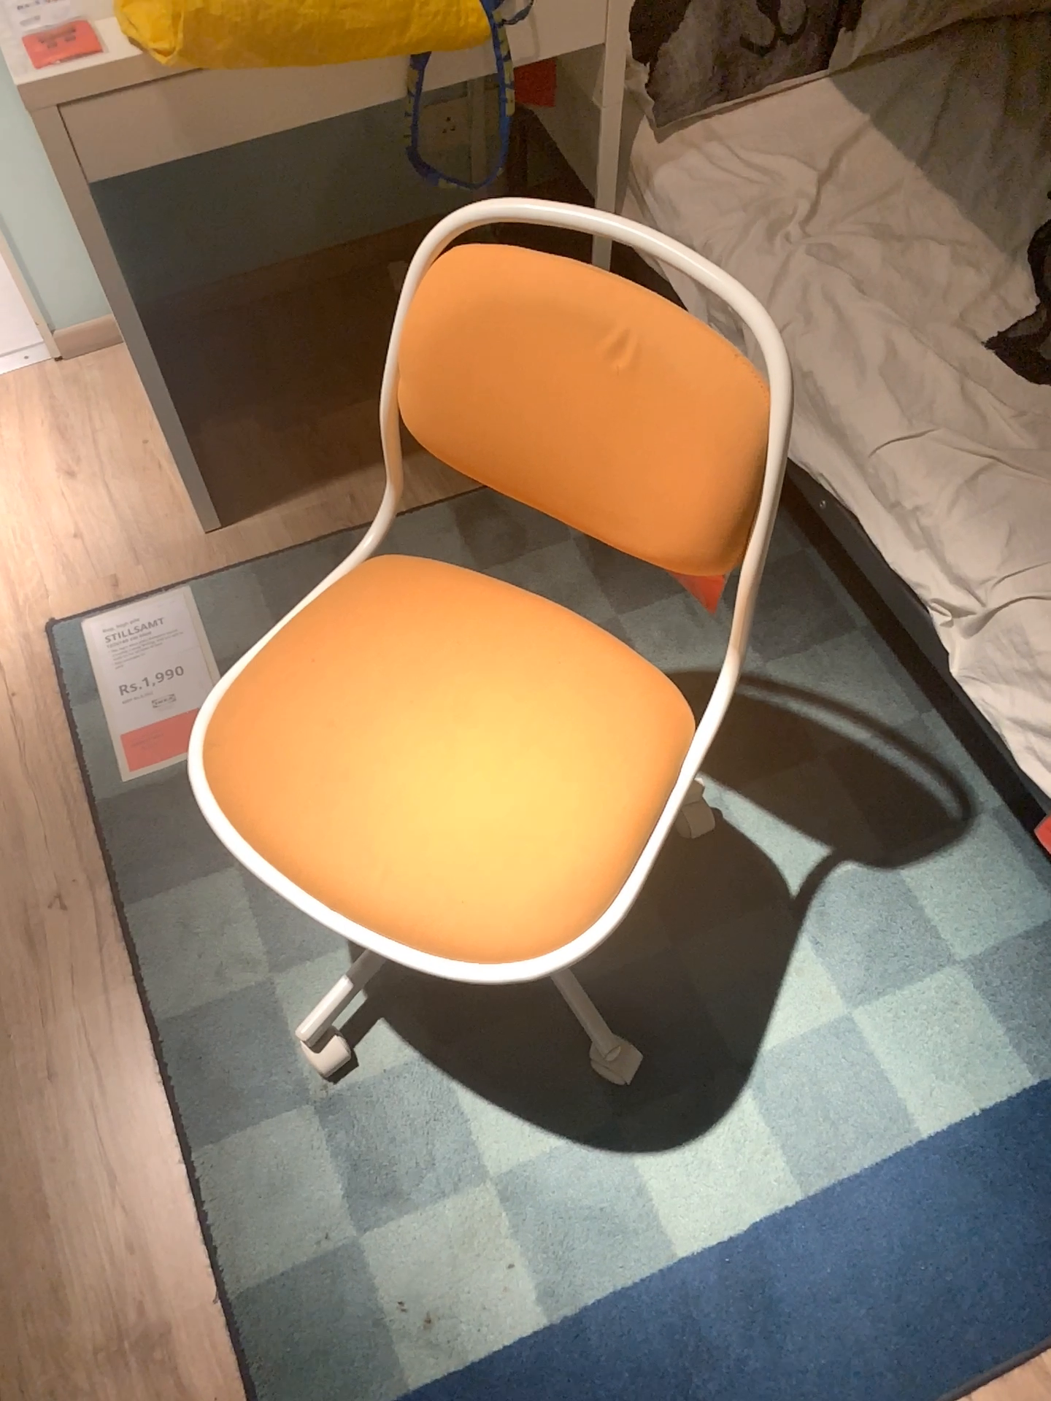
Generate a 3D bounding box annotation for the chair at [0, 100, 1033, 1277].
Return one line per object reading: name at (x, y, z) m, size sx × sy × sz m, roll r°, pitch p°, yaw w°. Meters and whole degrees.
chair at (-0.081, 0.038, 1.017) m, size 0.611 × 0.709 × 0.651 m, roll 32°, pitch 66°, yaw 17°
